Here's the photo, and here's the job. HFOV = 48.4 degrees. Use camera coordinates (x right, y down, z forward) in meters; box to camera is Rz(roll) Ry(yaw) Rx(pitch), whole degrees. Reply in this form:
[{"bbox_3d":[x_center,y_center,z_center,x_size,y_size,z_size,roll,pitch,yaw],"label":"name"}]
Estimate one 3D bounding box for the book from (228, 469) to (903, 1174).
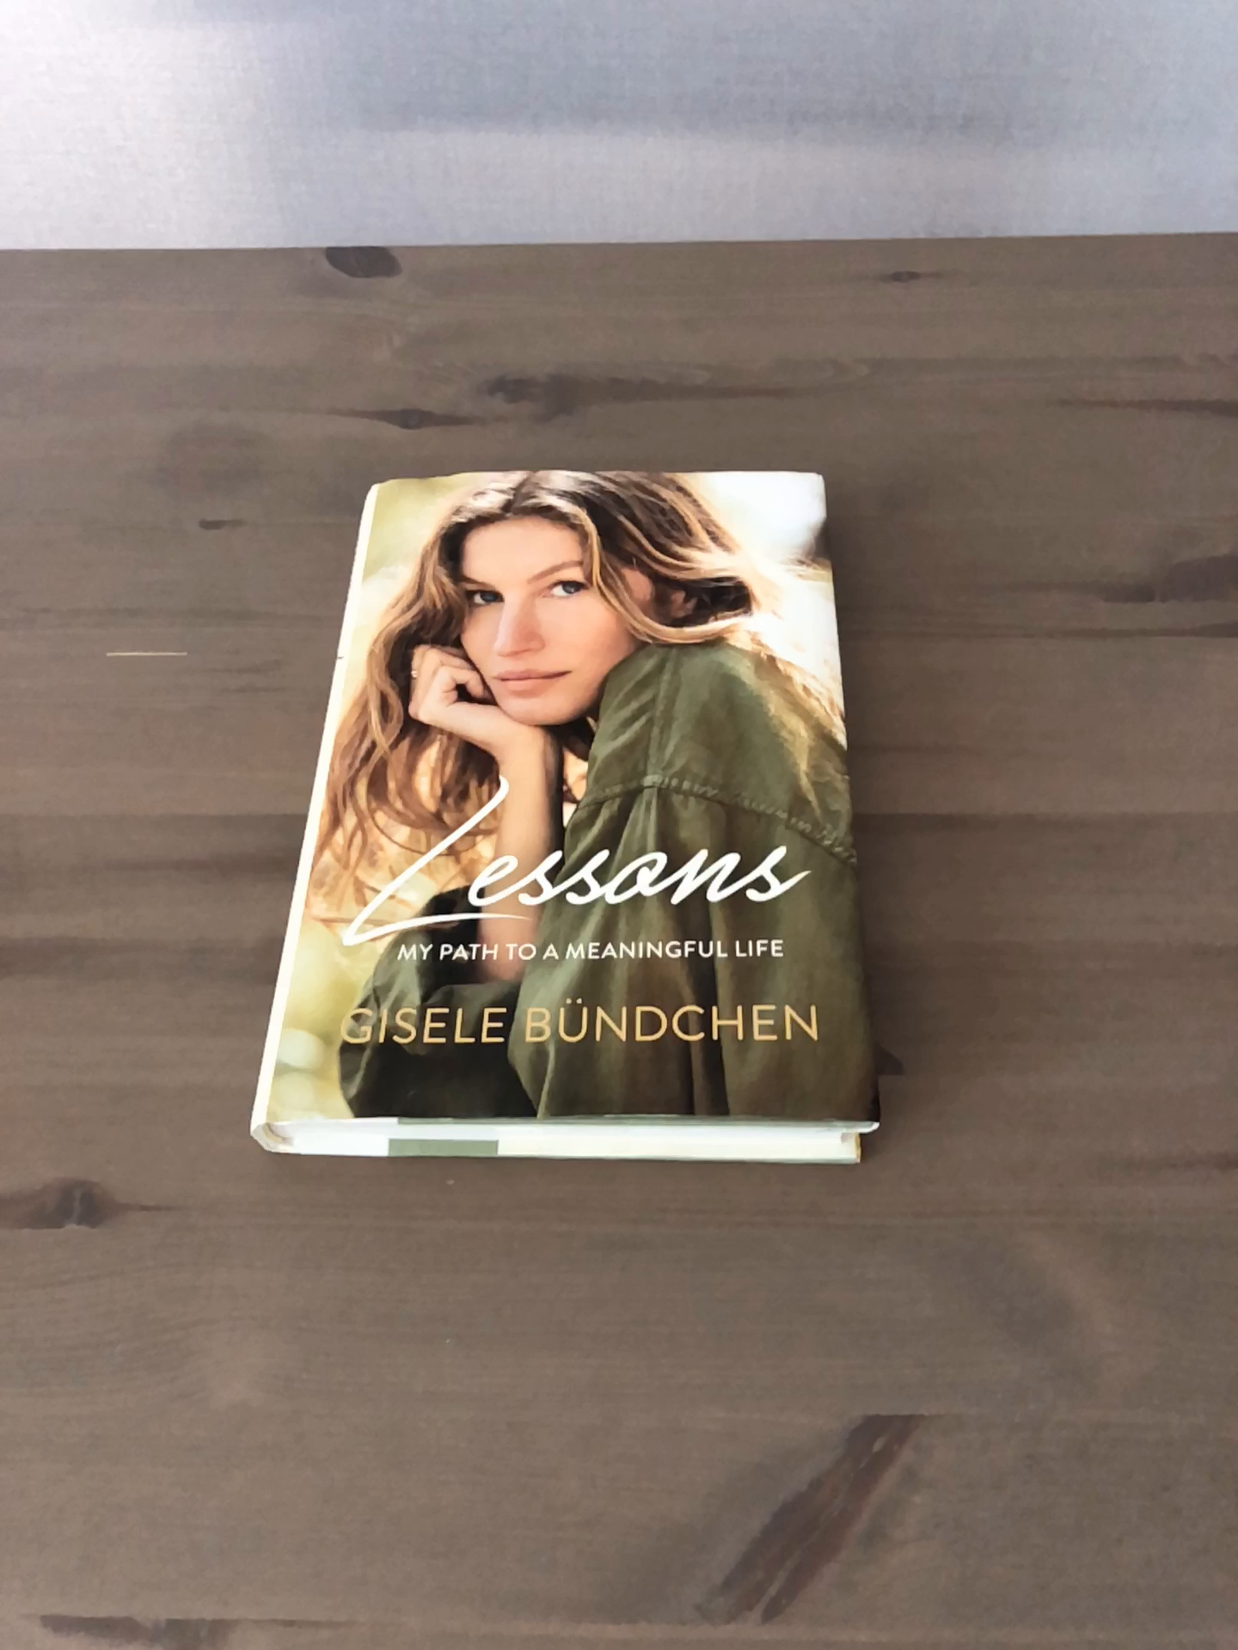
[{"bbox_3d":[-0.011,-0.015,0.402,0.160,0.030,0.228,0,56,1],"label":"book"}]
